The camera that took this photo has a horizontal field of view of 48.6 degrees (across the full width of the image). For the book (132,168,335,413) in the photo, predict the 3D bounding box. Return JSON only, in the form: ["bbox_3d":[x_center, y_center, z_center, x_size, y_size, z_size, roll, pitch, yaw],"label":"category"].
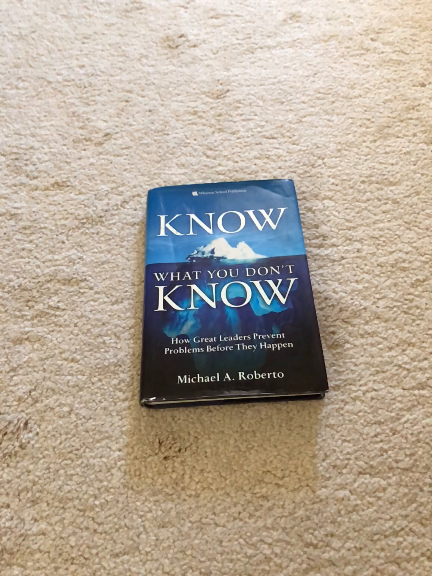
[{"bbox_3d":[0.009,-0.010,0.453,0.160,0.034,0.240,-3,59,0],"label":"book"}]
